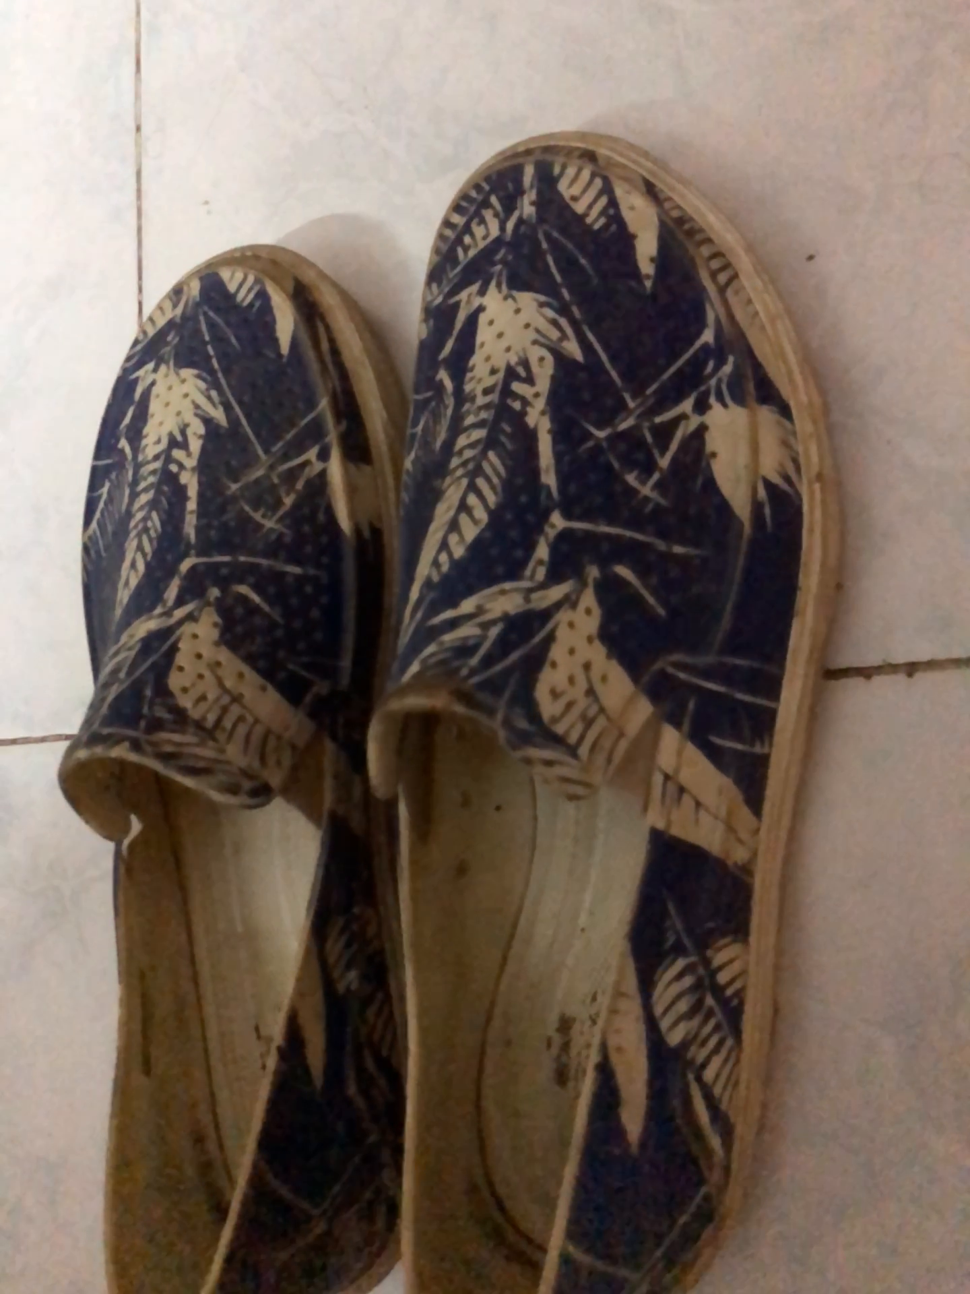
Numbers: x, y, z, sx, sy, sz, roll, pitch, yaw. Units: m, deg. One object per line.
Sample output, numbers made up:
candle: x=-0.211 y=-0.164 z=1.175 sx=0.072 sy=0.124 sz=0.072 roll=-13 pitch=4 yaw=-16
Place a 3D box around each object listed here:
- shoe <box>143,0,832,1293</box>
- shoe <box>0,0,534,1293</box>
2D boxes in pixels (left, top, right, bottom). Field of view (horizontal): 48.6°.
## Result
shoe: x=0.008 y=0.011 z=0.244 sx=0.110 sy=0.100 sz=0.300 roll=-2 pitch=83 yaw=33
shoe: x=-0.079 y=0.017 z=0.287 sx=0.110 sy=0.100 sz=0.310 roll=-12 pitch=79 yaw=23
